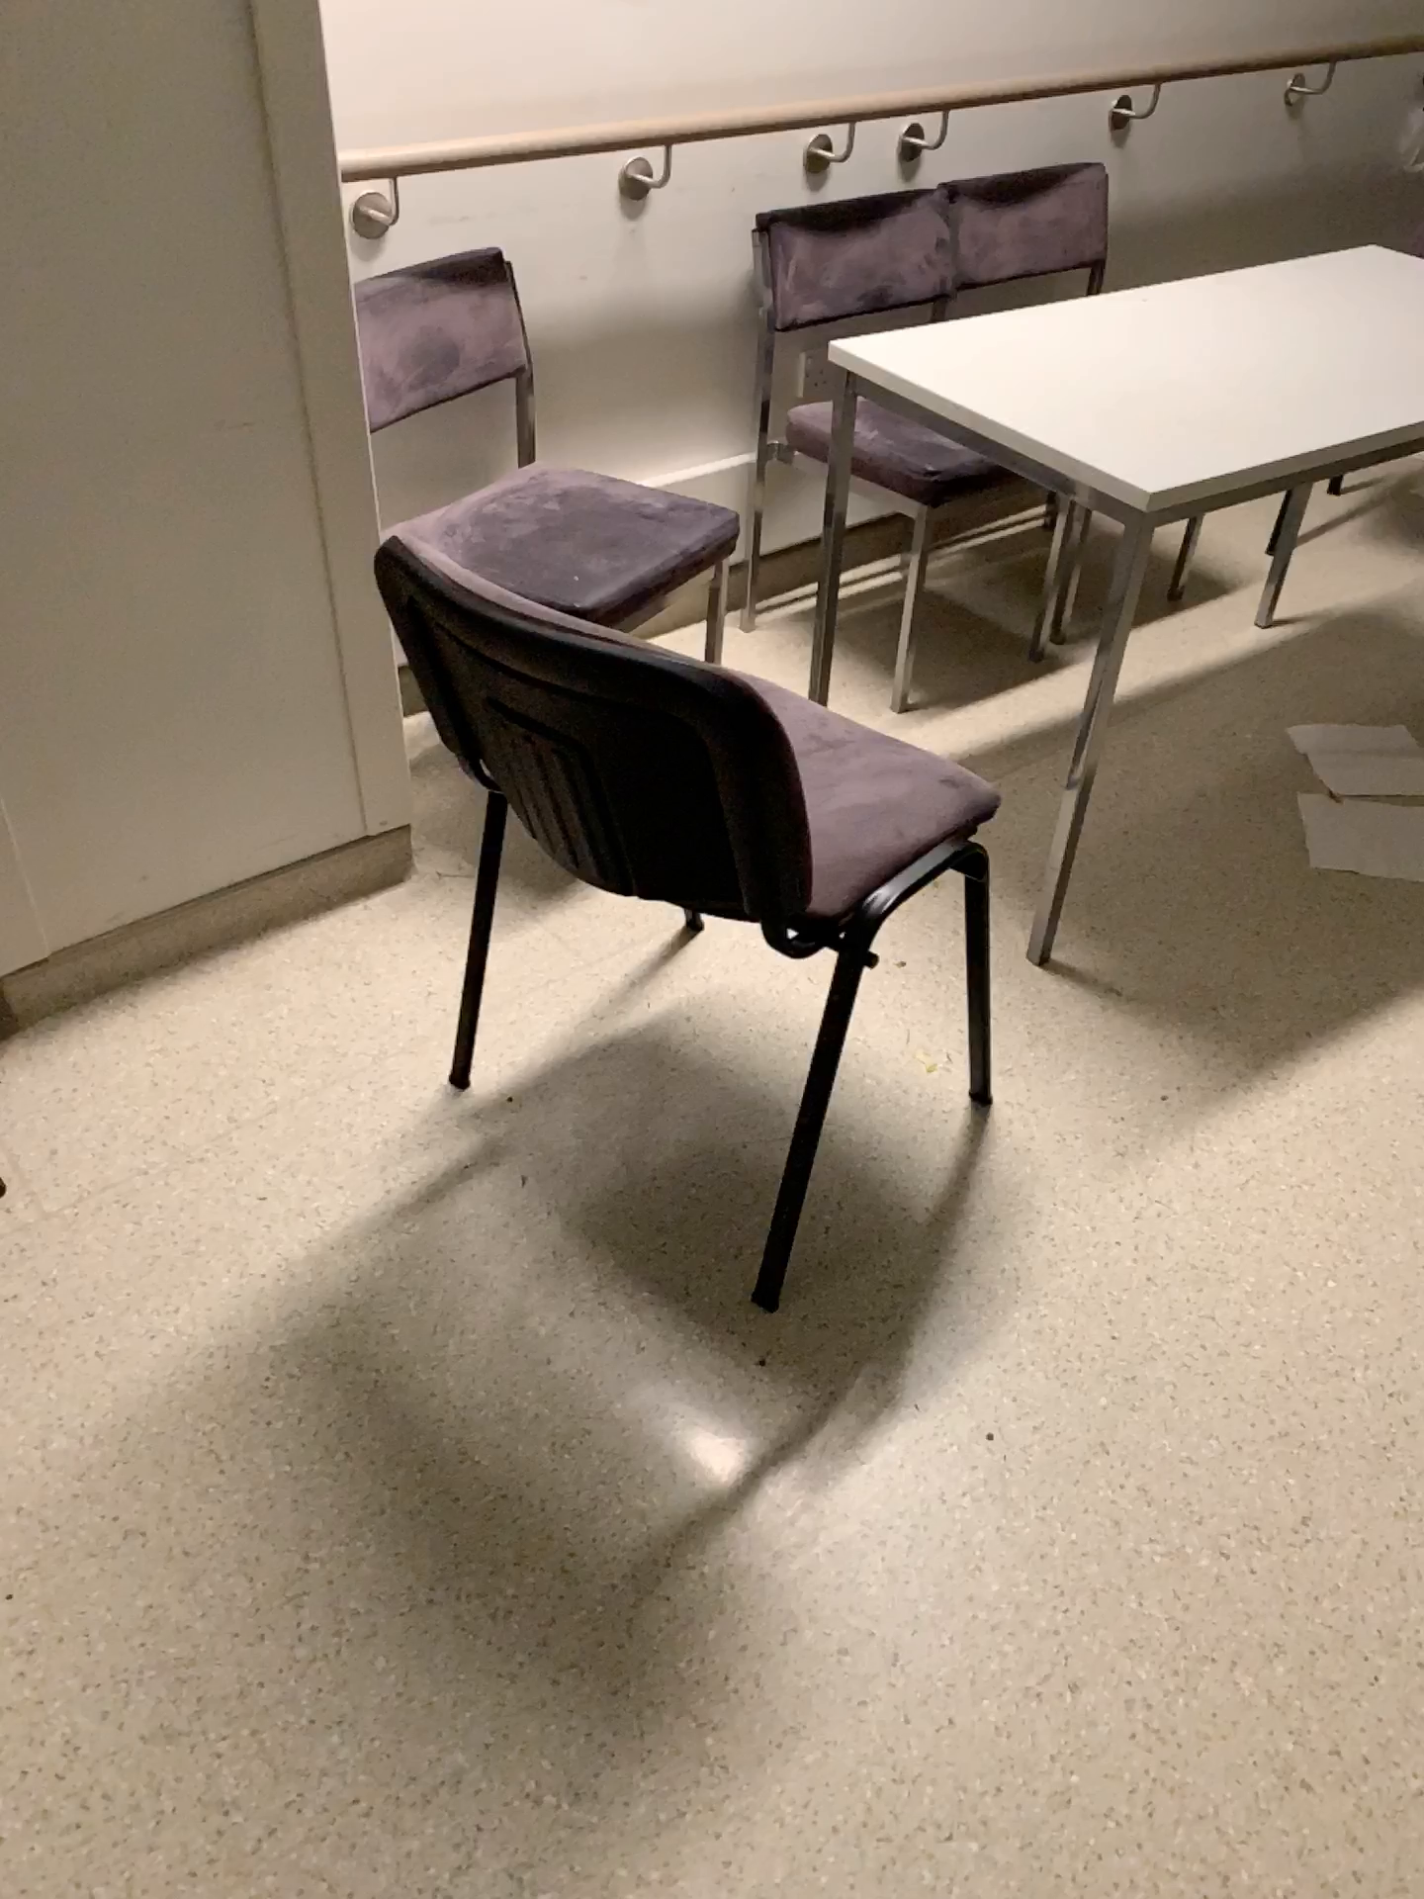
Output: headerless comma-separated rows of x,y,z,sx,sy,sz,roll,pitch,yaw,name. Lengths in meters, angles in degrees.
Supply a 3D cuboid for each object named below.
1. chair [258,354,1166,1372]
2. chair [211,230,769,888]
-0.005,-0.130,1.579,0.603,0.752,0.603,30,46,30,chair
-0.303,-0.604,2.182,0.561,0.723,0.504,23,43,23,chair
